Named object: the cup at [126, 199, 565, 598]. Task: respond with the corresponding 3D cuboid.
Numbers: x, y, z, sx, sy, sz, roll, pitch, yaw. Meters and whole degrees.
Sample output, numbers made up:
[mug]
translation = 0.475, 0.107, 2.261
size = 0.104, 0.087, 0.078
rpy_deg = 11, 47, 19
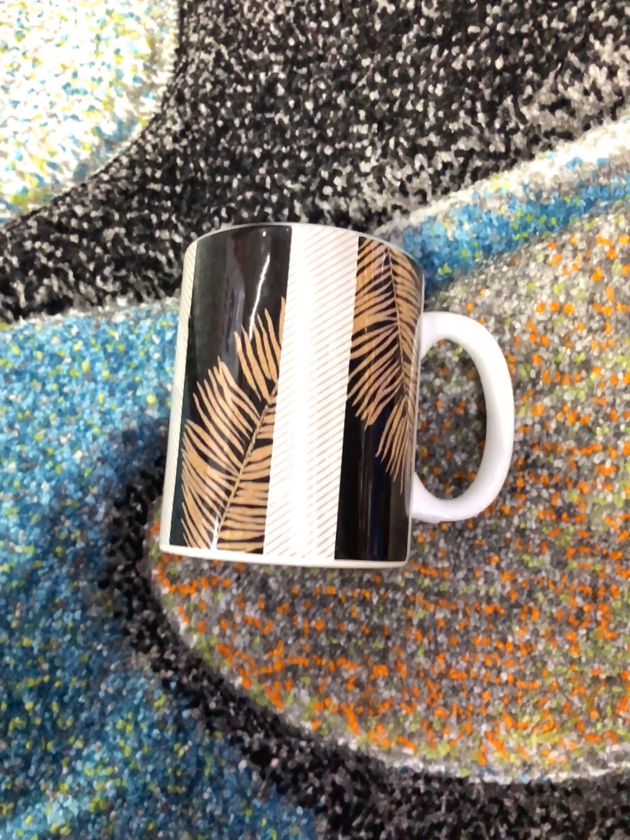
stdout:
[cup]
translation = 0.007, 0.001, 0.226
size = 0.120, 0.070, 0.100
rpy_deg = 4, 83, -17
